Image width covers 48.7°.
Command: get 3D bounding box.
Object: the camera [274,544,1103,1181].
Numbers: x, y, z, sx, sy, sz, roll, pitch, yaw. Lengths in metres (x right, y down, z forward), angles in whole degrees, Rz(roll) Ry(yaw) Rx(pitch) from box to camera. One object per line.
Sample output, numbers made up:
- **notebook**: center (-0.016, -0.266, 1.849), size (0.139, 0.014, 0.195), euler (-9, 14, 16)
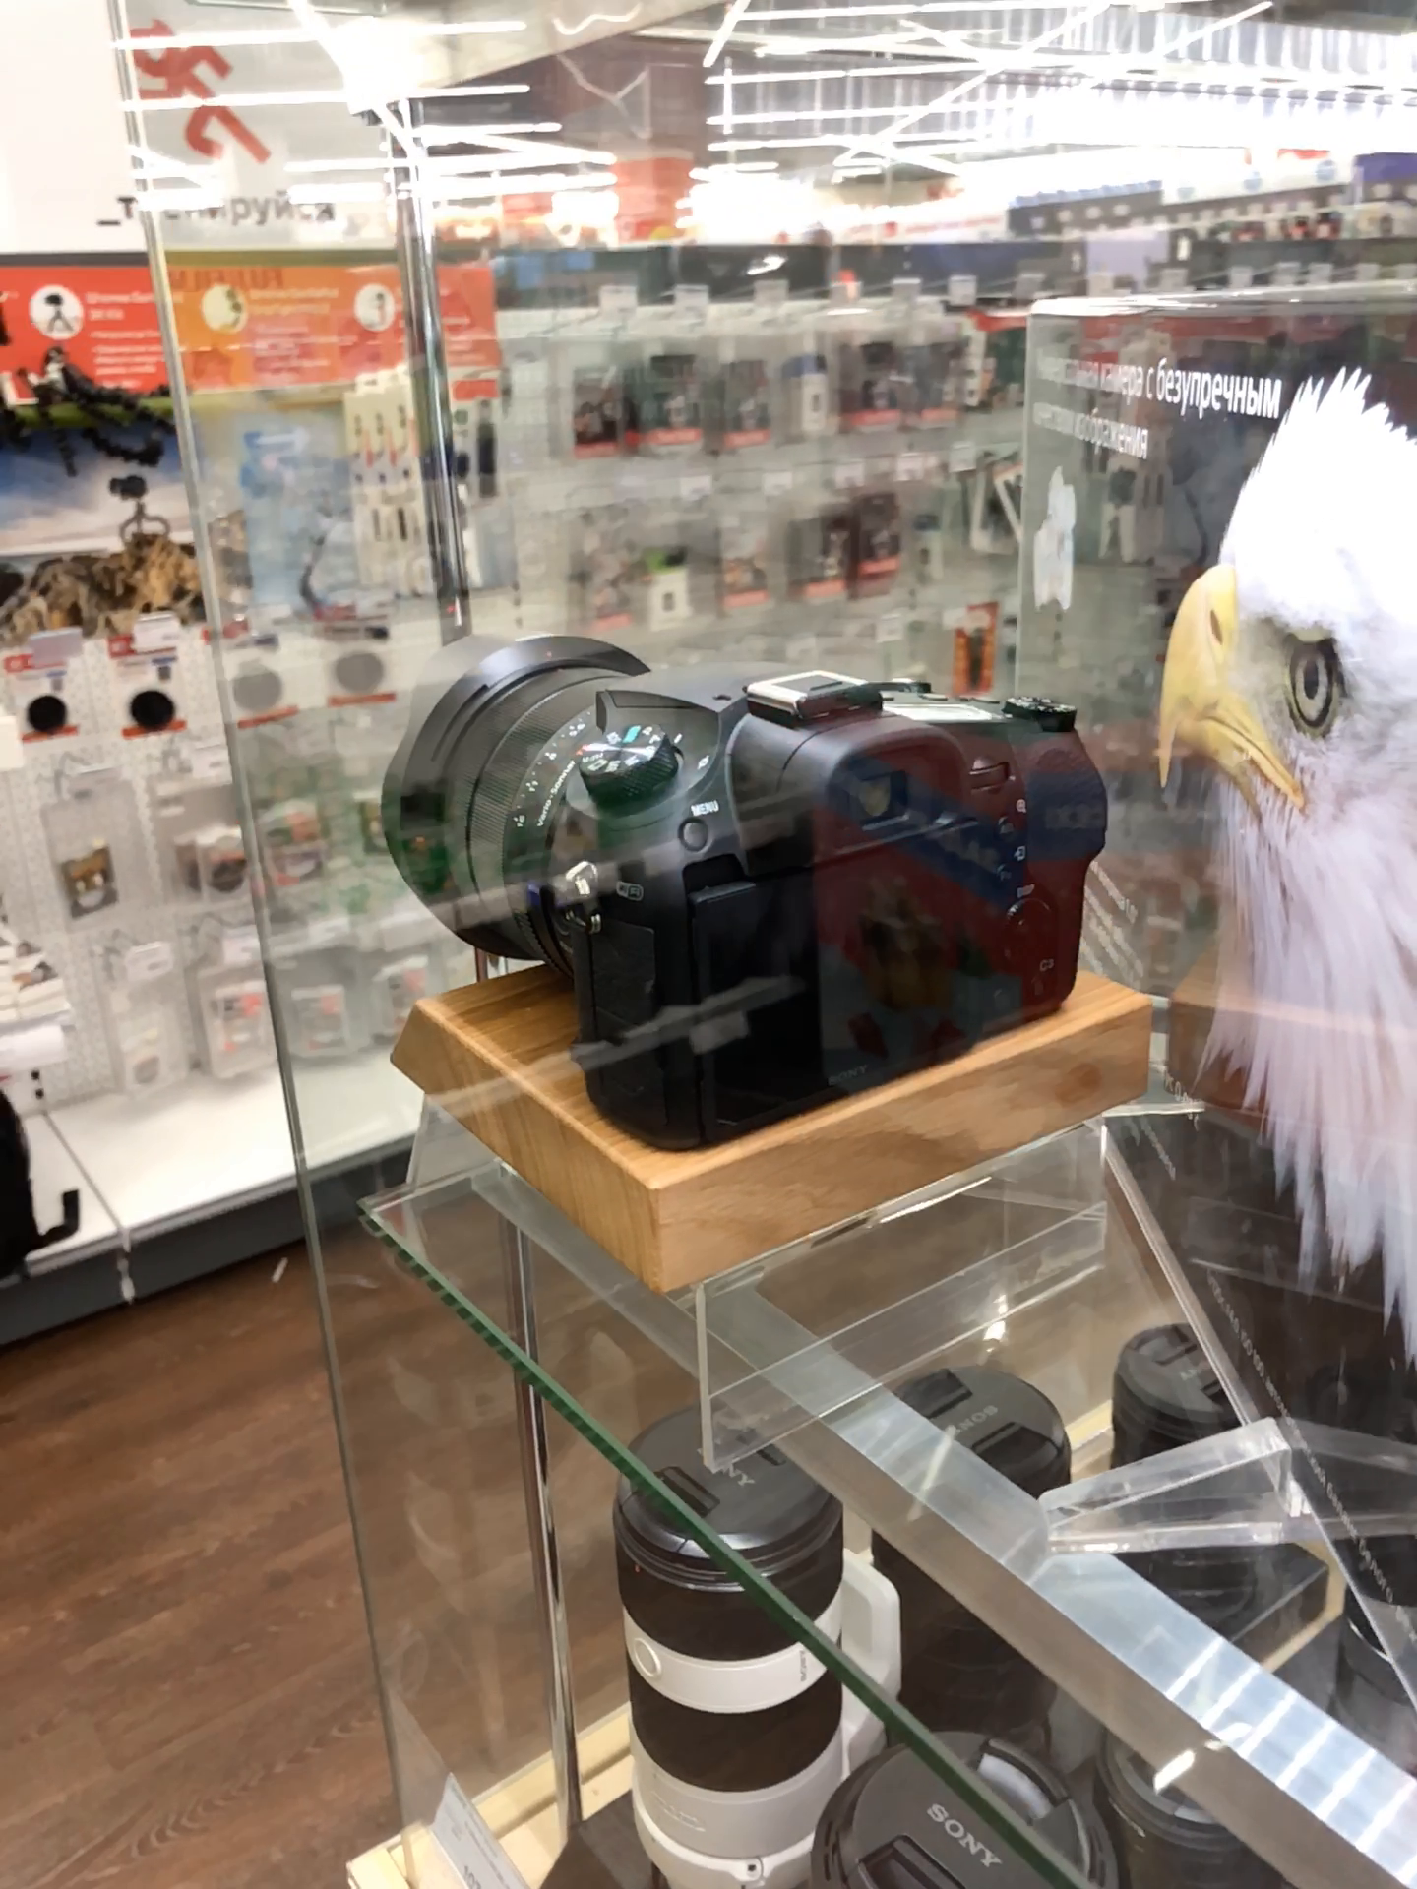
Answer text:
- **camera**: center (-0.013, -0.038, 0.400), size (0.126, 0.099, 0.178), euler (-16, 24, -30)
